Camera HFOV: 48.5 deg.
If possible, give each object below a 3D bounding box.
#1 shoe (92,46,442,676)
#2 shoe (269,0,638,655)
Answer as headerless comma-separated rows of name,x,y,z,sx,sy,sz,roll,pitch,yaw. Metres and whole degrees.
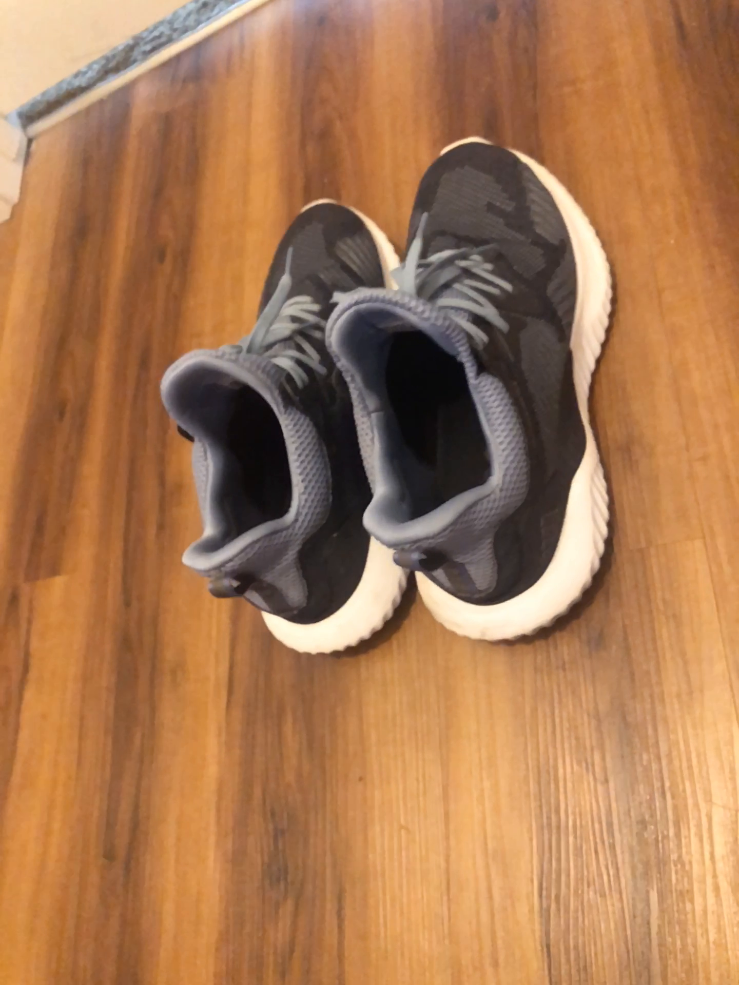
shoe,-0.051,-0.071,0.503,0.133,0.135,0.333,-12,65,28
shoe,0.053,-0.092,0.443,0.132,0.130,0.334,-8,67,29
